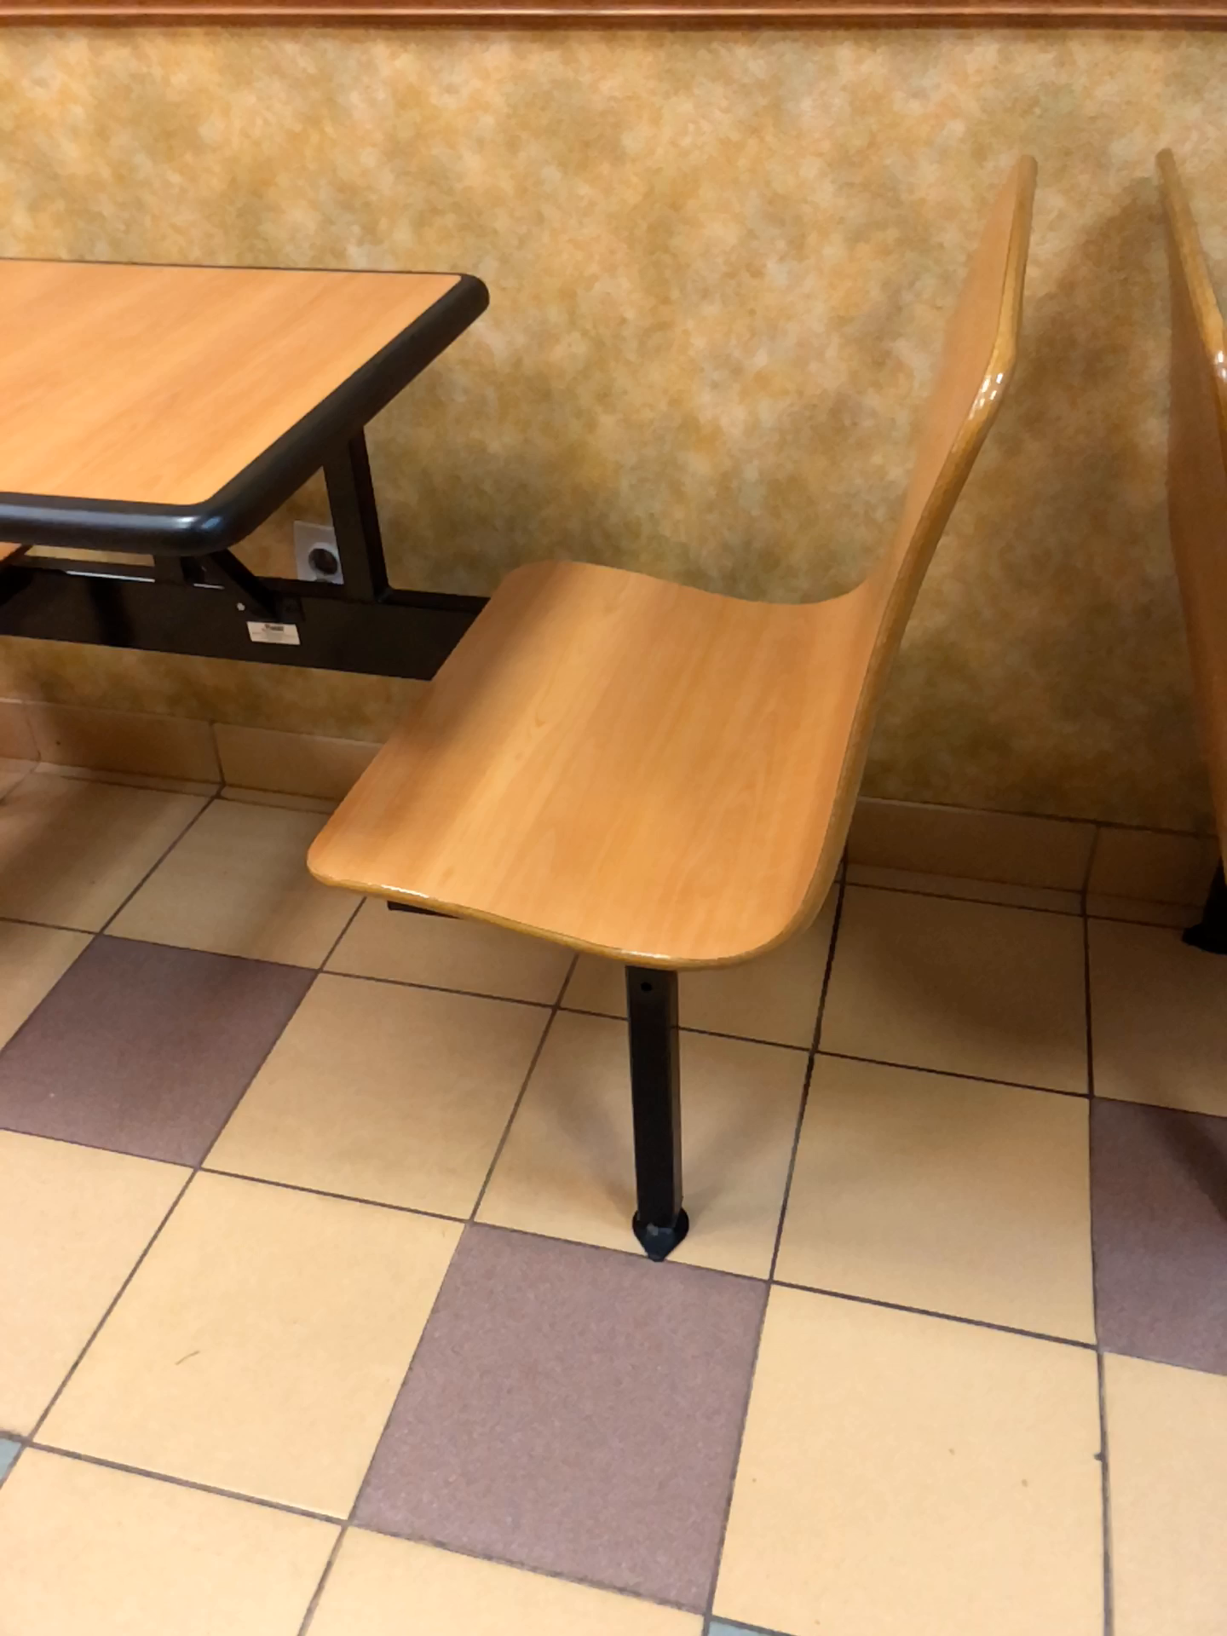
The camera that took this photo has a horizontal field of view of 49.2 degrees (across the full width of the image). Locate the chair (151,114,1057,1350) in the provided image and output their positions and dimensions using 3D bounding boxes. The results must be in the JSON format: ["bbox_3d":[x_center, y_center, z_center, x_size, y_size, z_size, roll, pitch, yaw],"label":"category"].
[{"bbox_3d":[0.068,-0.099,1.240,0.510,0.884,0.634,8,38,13],"label":"chair"}]
